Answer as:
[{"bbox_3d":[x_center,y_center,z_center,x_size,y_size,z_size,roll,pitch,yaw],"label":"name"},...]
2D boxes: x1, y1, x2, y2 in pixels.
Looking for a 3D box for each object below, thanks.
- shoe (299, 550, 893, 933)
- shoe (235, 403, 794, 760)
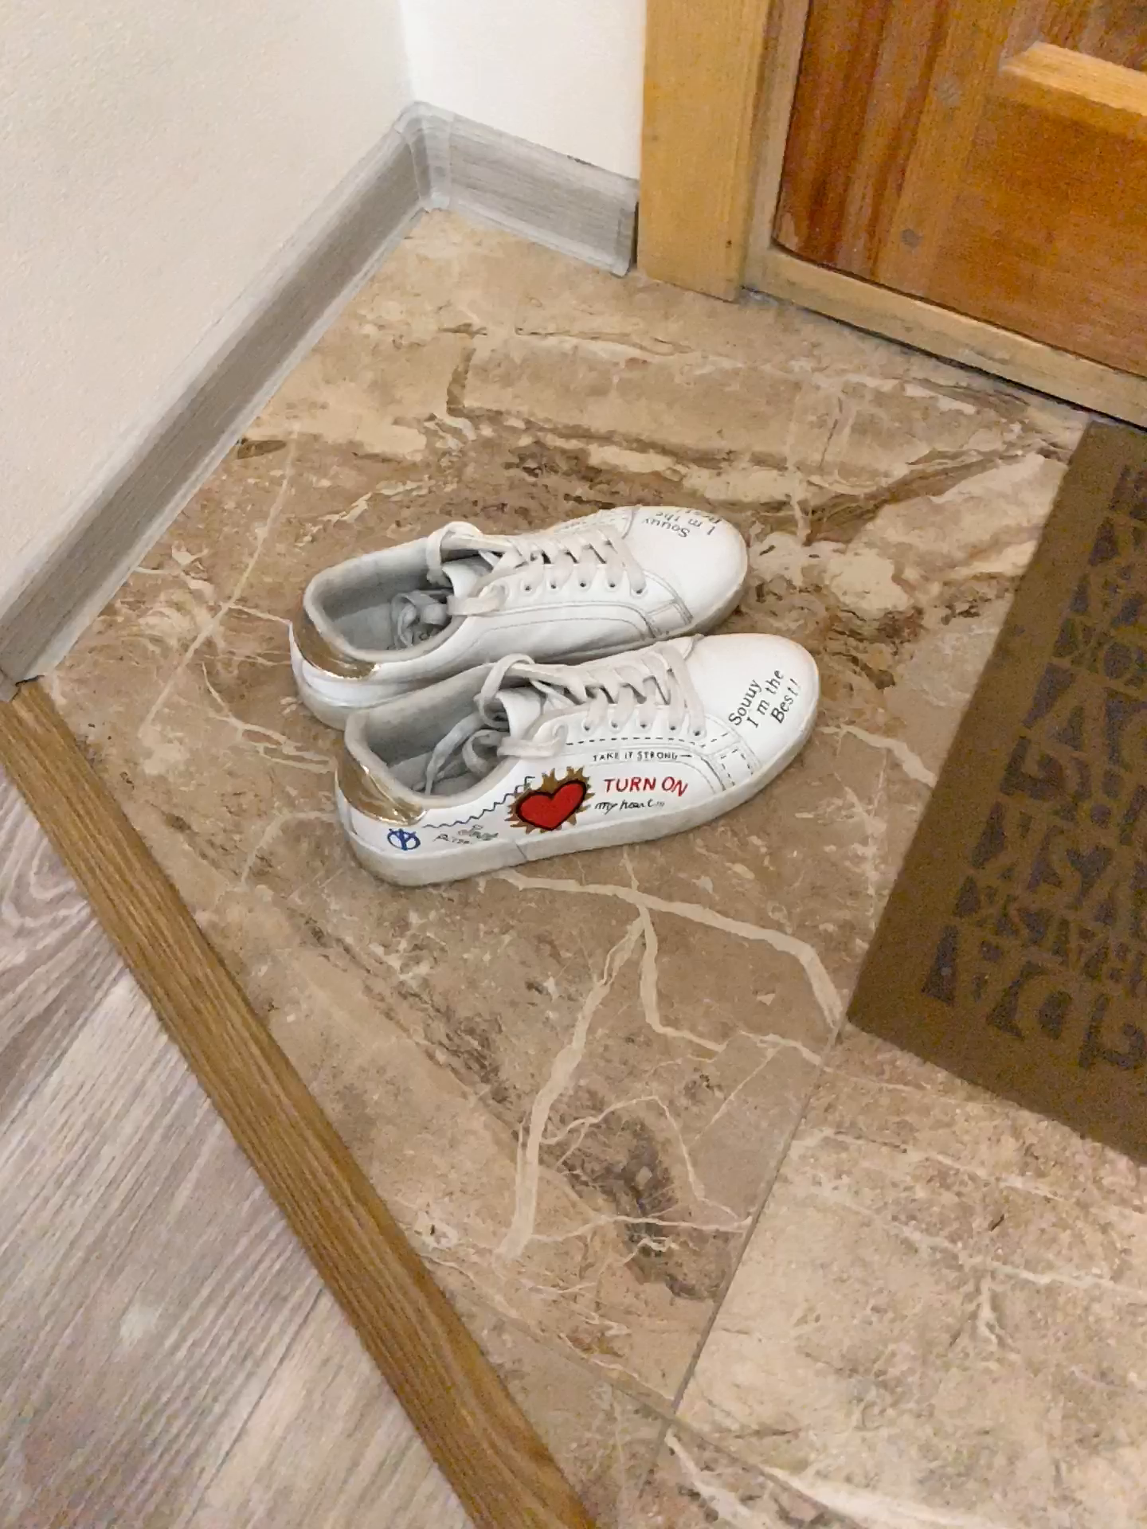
[{"bbox_3d":[0.010,-0.011,0.575,0.256,0.080,0.092,-17,65,-7],"label":"shoe"},{"bbox_3d":[-0.029,-0.094,0.606,0.256,0.080,0.092,-16,65,-7],"label":"shoe"}]
